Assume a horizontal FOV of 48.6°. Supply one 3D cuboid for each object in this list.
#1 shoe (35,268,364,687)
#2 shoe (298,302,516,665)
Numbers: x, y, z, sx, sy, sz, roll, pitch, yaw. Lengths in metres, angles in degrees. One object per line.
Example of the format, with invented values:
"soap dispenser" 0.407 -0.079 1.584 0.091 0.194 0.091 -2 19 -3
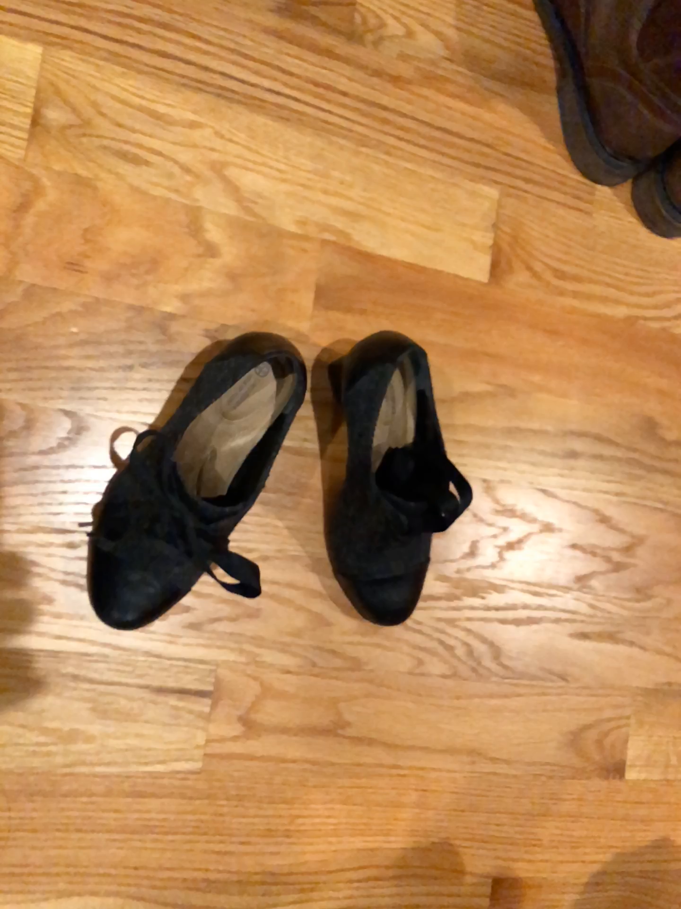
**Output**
"shoe" -0.095 0.013 0.491 0.093 0.125 0.223 30 79 -17
"shoe" 0.042 0.016 0.540 0.088 0.125 0.223 -7 91 -20
